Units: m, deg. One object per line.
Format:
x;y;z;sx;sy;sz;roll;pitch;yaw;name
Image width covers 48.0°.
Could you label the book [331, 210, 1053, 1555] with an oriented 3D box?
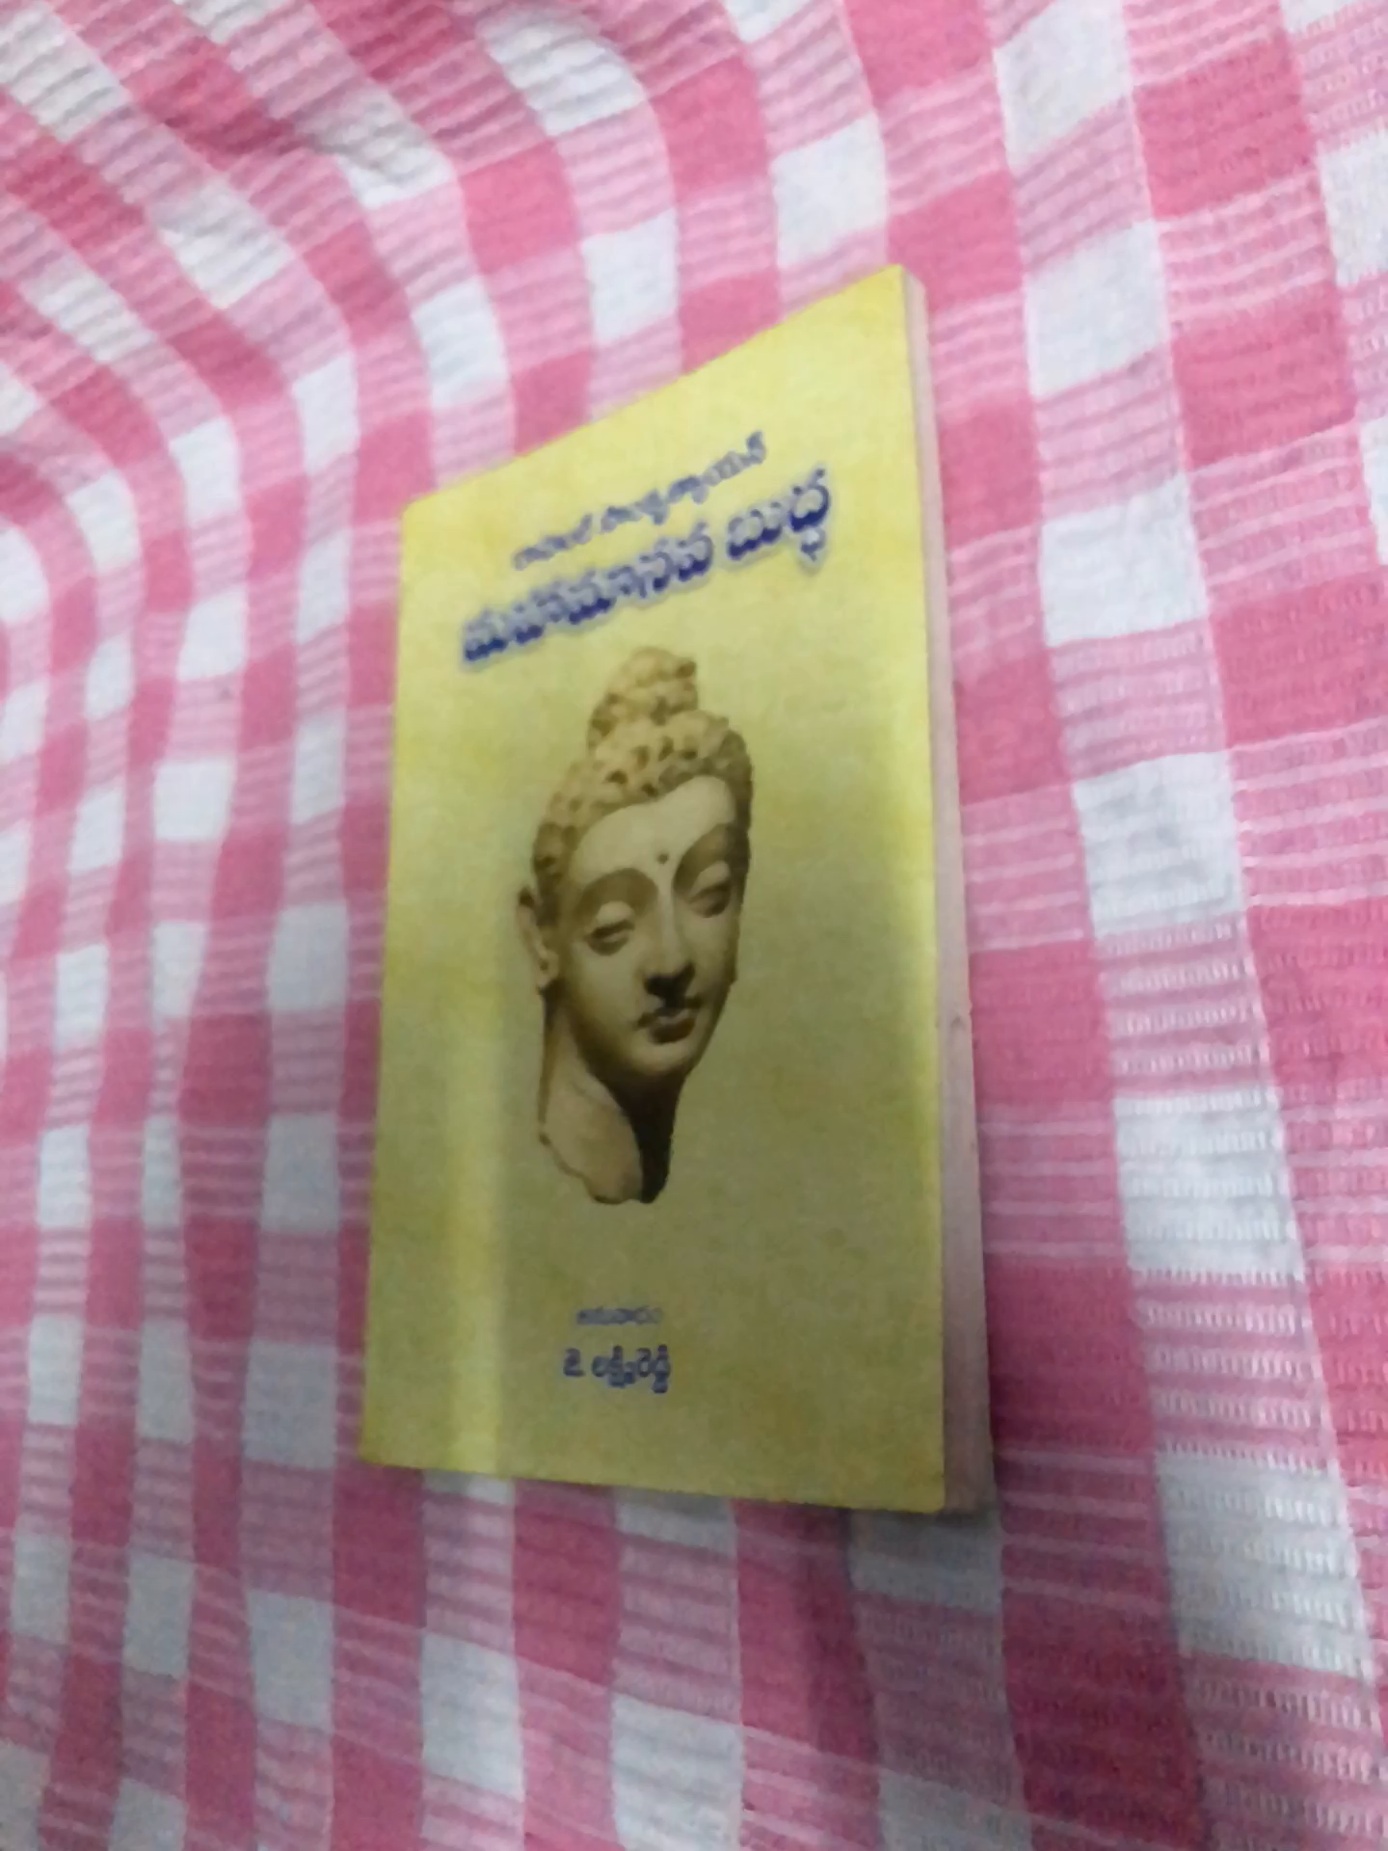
-0.007;-0.006;0.293;0.140;0.020;0.220;-11;70;37;book
